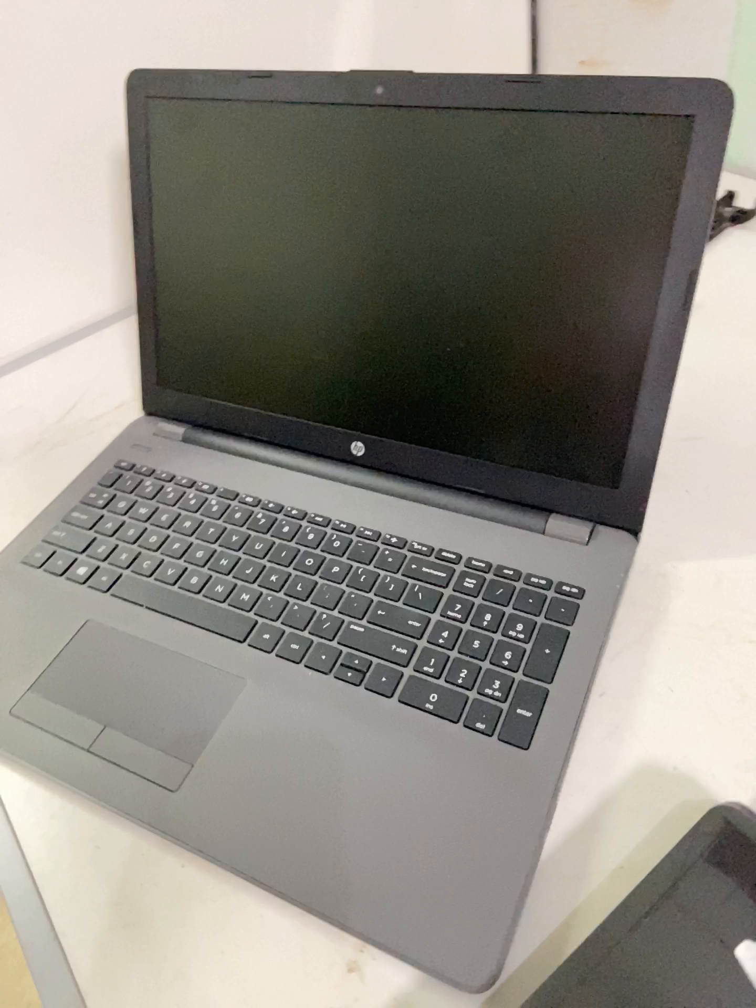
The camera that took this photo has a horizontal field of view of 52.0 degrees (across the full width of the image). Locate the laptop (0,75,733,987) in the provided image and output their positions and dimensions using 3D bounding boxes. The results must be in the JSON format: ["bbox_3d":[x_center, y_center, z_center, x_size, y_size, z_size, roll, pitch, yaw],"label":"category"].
[{"bbox_3d":[-0.061,-0.048,0.418,0.380,0.206,0.366,14,52,23],"label":"laptop"}]
